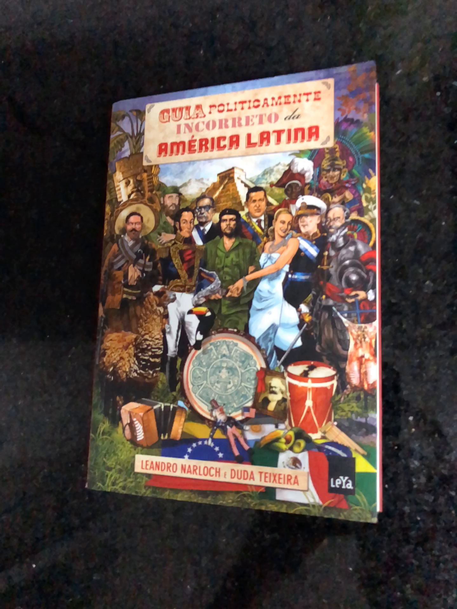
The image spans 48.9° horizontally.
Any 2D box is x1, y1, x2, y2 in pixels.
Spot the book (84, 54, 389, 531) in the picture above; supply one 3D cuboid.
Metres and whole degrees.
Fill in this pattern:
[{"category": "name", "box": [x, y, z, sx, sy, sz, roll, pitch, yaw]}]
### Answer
[{"category": "book", "box": [0.006, -0.009, 0.271, 0.150, 0.040, 0.220, -1, 82, 18]}]
